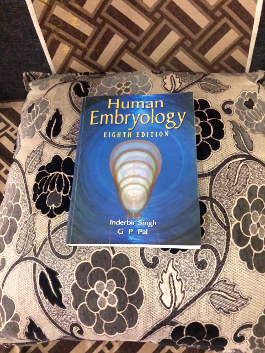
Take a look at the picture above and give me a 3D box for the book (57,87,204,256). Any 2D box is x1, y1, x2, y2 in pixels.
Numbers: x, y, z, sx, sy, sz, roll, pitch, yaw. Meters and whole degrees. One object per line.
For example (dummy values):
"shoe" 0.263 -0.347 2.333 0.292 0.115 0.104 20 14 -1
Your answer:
"book" 0.001 -0.020 0.459 0.200 0.030 0.270 1 68 5
